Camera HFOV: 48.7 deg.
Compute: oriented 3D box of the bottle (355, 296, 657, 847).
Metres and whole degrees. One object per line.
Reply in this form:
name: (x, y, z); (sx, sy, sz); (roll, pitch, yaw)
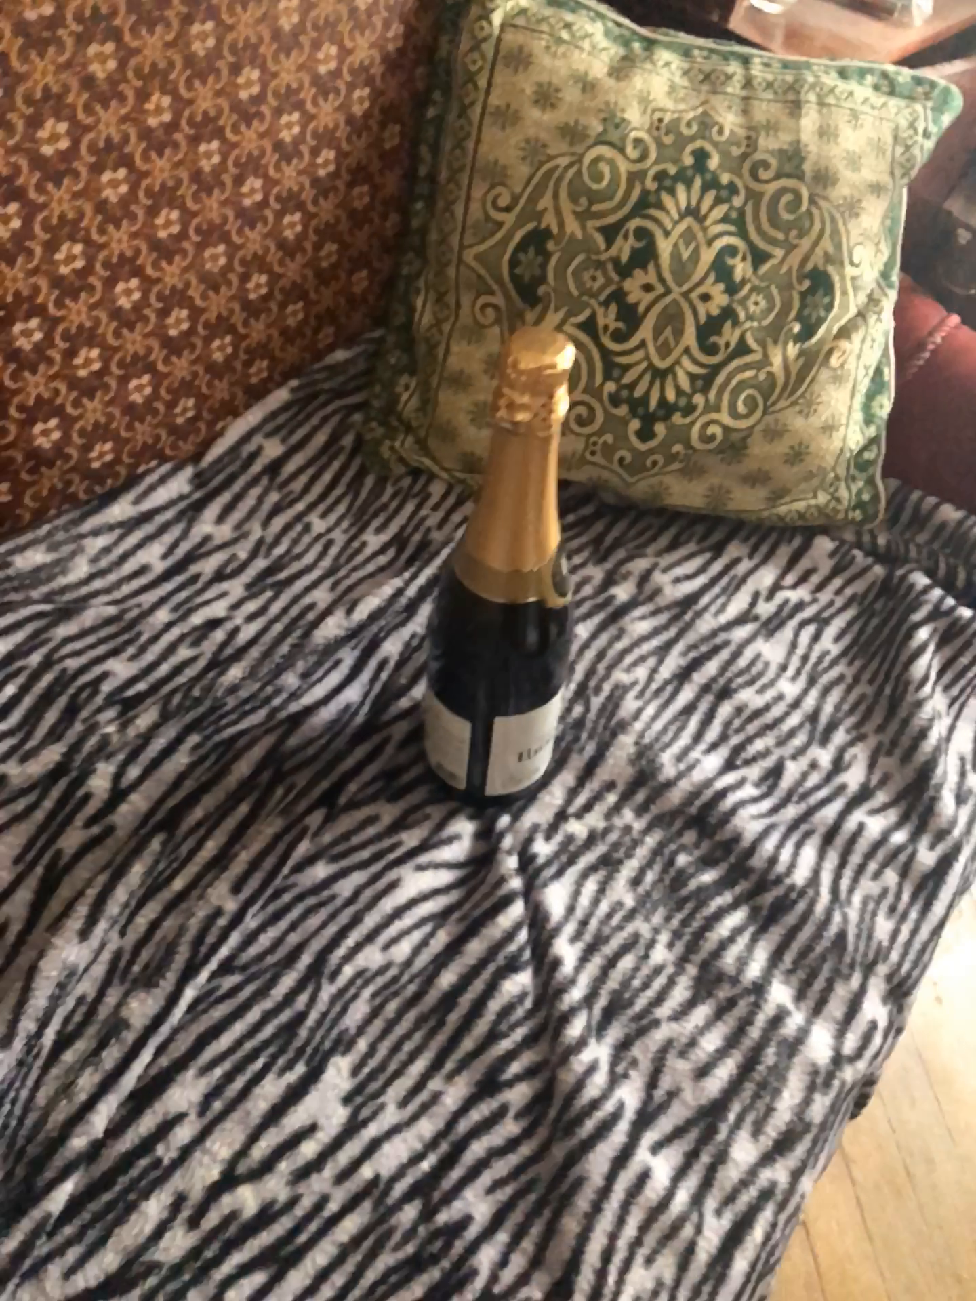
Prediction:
bottle: (0.000, -0.022, 0.555); (0.100, 0.278, 0.101); (3, 52, -3)
